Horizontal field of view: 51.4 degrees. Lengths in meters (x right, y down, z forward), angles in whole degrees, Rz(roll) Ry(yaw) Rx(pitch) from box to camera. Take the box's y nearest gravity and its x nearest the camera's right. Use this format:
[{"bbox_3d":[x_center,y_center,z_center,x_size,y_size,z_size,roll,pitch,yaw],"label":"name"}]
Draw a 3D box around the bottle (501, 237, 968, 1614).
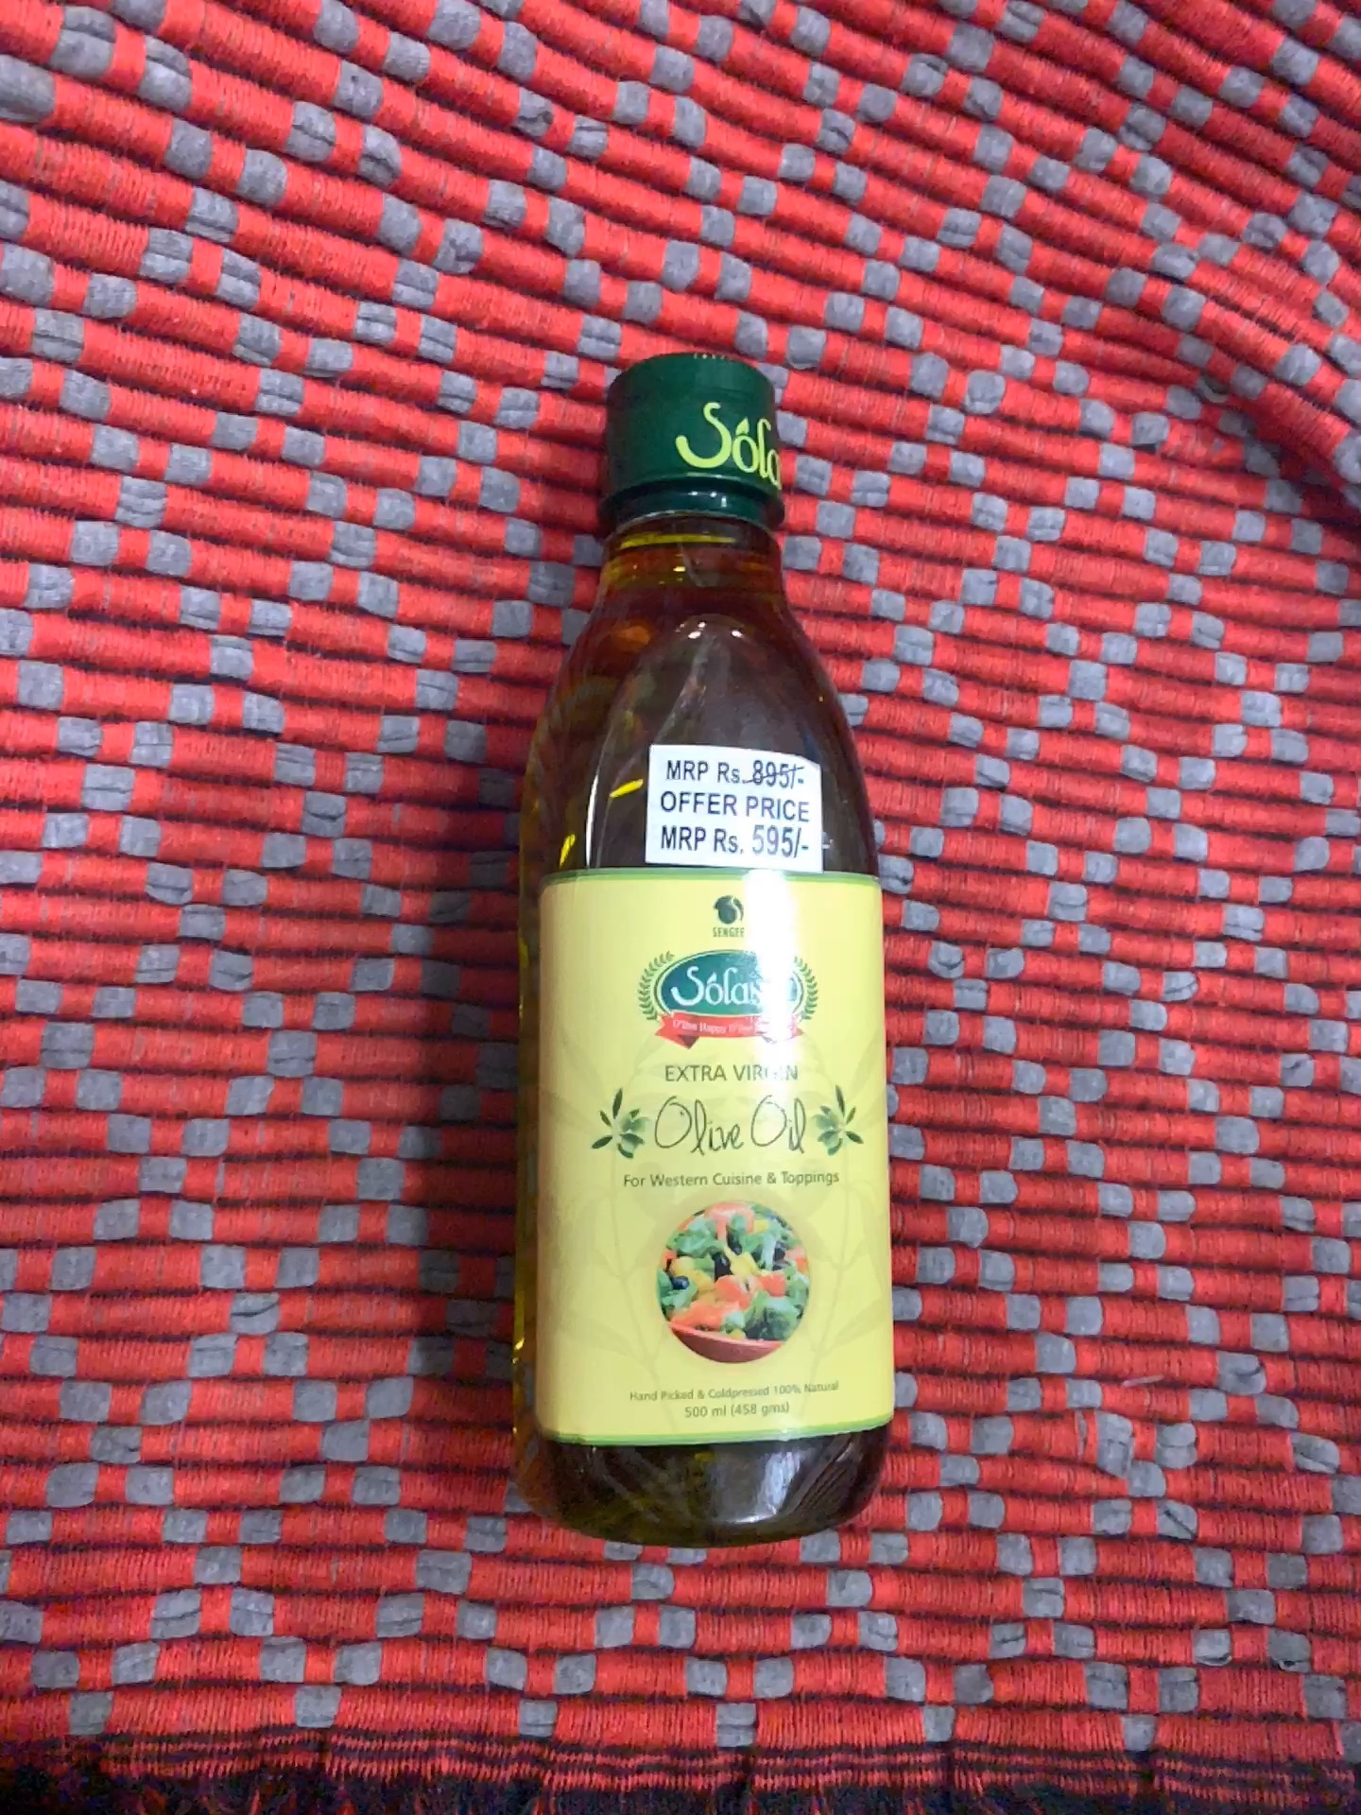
[{"bbox_3d":[0.003,0.001,0.242,0.060,0.070,0.200,1,80,-10],"label":"bottle"}]
